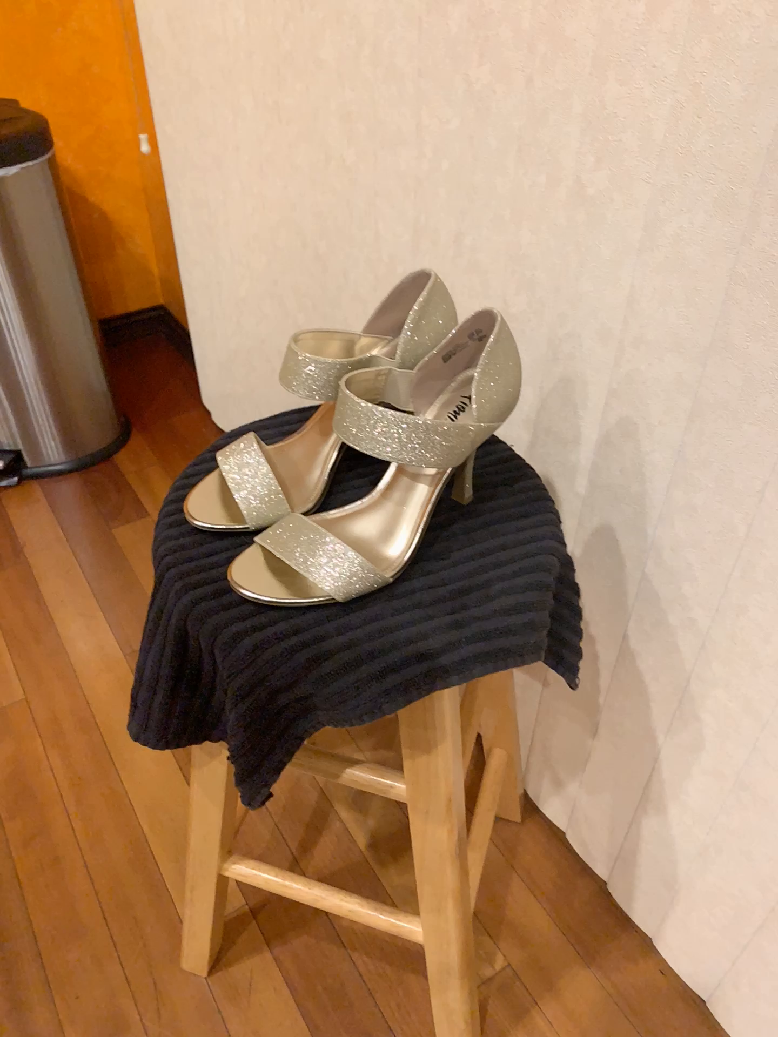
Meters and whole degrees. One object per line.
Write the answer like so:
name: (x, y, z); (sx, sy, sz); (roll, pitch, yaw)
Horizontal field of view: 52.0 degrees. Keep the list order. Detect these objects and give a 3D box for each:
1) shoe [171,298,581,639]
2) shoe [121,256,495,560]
shoe: (-0.004, -0.040, 0.526); (0.237, 0.129, 0.090); (-22, 46, -24)
shoe: (-0.051, -0.088, 0.581); (0.236, 0.129, 0.095); (-22, 46, -24)
